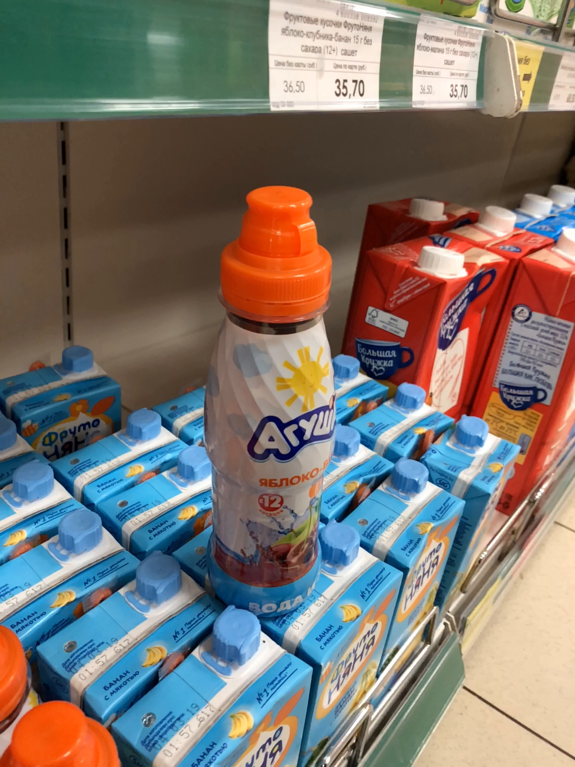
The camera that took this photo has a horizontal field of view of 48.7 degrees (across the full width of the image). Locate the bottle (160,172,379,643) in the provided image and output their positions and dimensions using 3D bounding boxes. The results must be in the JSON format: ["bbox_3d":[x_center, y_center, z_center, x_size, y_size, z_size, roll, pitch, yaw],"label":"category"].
[{"bbox_3d":[-0.009,0.016,0.273,0.056,0.190,0.055,2,31,-1],"label":"bottle"}]
